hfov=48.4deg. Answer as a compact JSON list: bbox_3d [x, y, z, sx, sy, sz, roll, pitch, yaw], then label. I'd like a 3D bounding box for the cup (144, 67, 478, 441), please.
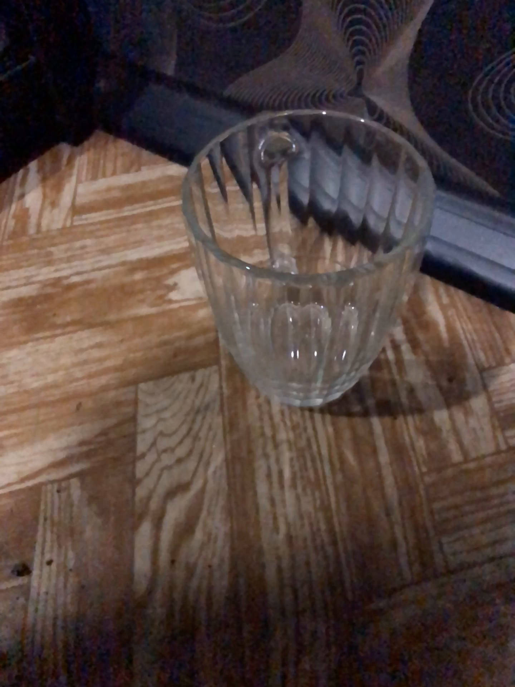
[{"bbox_3d":[0.015,-0.041,0.273,0.113,0.107,0.126,-7,54,-1],"label":"cup"}]
